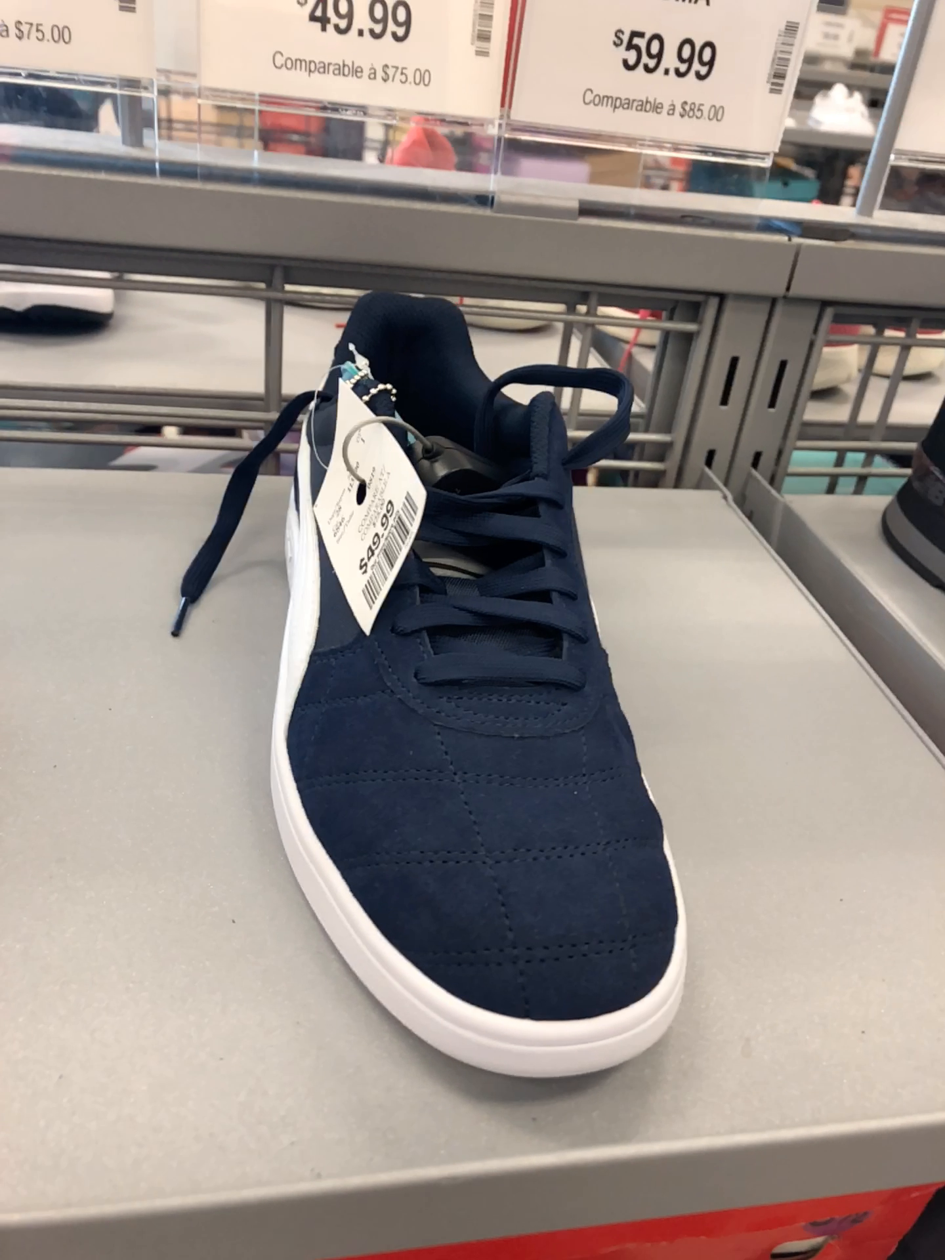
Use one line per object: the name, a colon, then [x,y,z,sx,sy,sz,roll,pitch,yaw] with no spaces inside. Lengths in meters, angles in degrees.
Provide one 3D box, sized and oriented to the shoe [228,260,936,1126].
shoe: [-0.007,-0.012,0.301,0.119,0.119,0.242,-1,32,-14]
